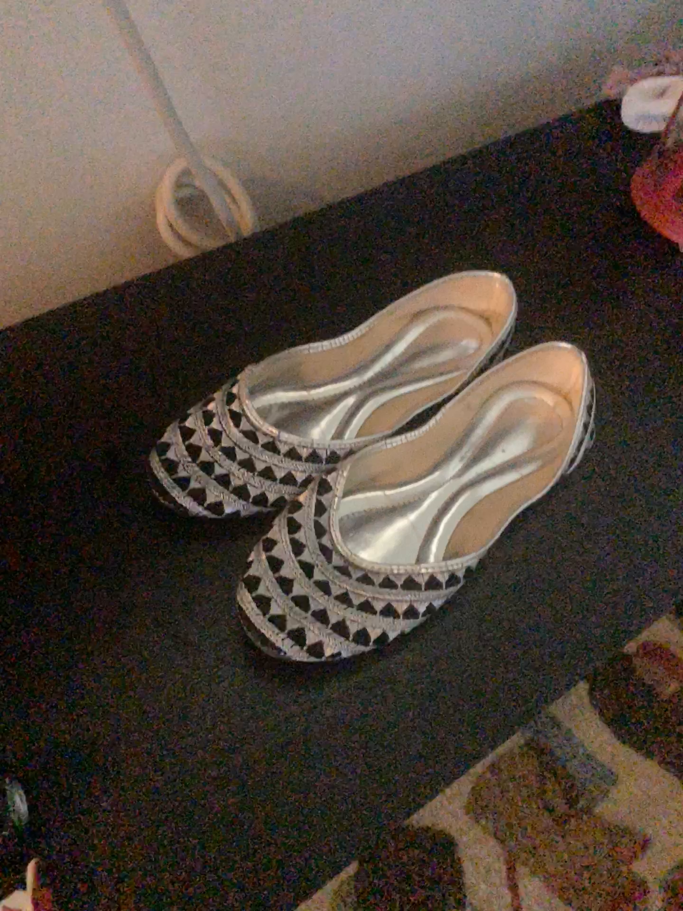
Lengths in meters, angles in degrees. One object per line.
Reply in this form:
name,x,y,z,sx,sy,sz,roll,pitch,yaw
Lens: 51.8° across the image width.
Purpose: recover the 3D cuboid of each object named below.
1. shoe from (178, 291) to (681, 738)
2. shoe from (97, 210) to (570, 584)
shoe,0.056,0.019,0.389,0.271,0.069,0.096,-34,66,-24
shoe,0.004,-0.047,0.431,0.271,0.069,0.096,-32,65,-23
